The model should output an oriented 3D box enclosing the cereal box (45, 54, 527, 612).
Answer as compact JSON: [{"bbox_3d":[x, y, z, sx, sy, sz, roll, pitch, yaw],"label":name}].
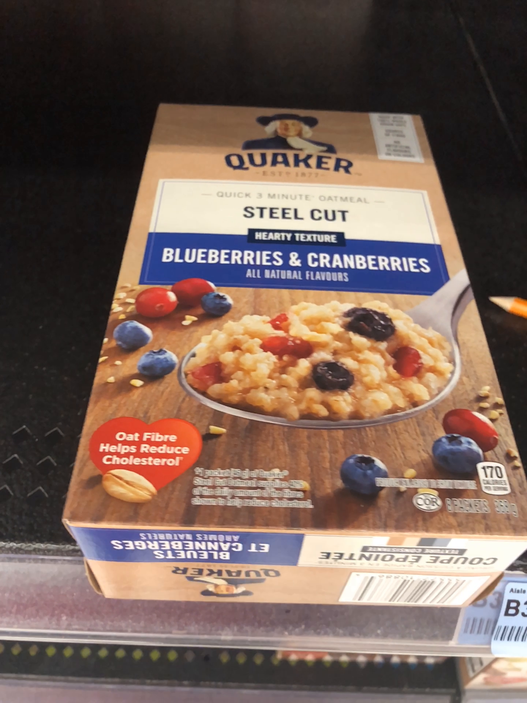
[{"bbox_3d":[0.013,-0.031,0.243,0.130,0.060,0.241,2,52,-1],"label":"cereal box"}]
